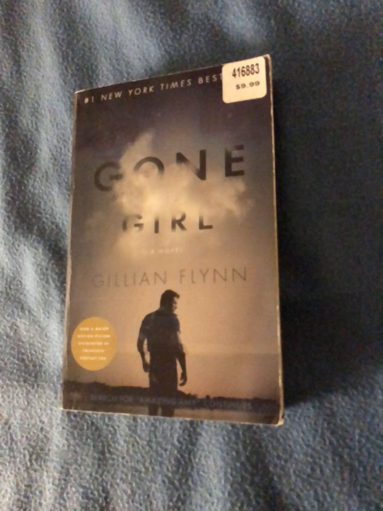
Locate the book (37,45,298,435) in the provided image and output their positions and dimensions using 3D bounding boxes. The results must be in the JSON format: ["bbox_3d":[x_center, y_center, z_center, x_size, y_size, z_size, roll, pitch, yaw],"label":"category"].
[{"bbox_3d":[-0.014,-0.009,0.250,0.140,0.040,0.200,-3,80,17],"label":"book"}]
